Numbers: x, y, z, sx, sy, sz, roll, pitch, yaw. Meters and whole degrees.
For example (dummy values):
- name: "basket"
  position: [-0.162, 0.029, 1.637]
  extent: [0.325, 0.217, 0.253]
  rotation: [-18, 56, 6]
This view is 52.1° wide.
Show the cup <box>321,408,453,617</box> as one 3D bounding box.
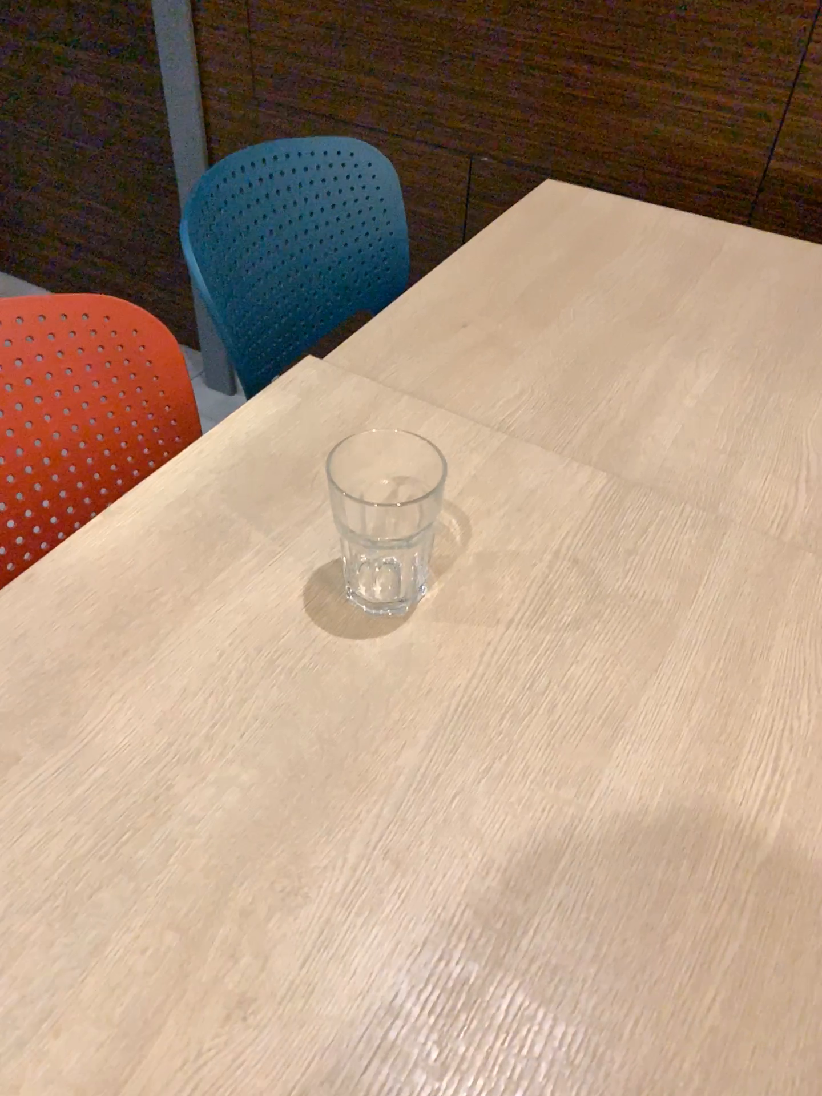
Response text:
- name: "cup"
  position: [-0.018, -0.023, 0.580]
  extent: [0.080, 0.119, 0.080]
  rotation: [2, 45, -2]
